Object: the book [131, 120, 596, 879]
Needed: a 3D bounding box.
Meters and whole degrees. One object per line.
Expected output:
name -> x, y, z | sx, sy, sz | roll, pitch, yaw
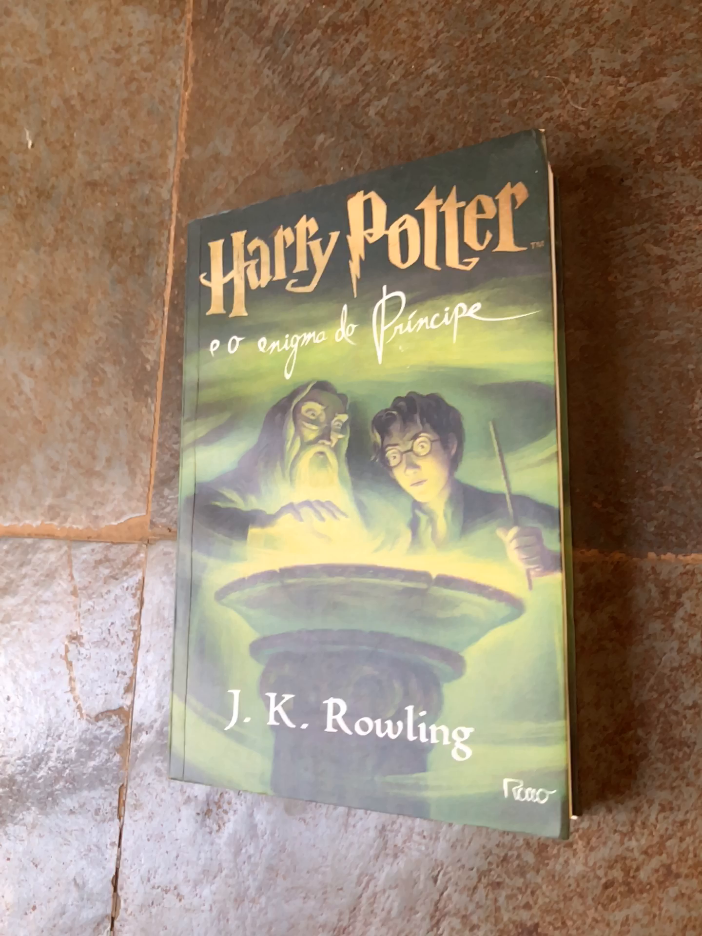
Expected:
book -> -0.001, 0.007, 0.250 | 0.142, 0.030, 0.200 | -3, 82, 26
